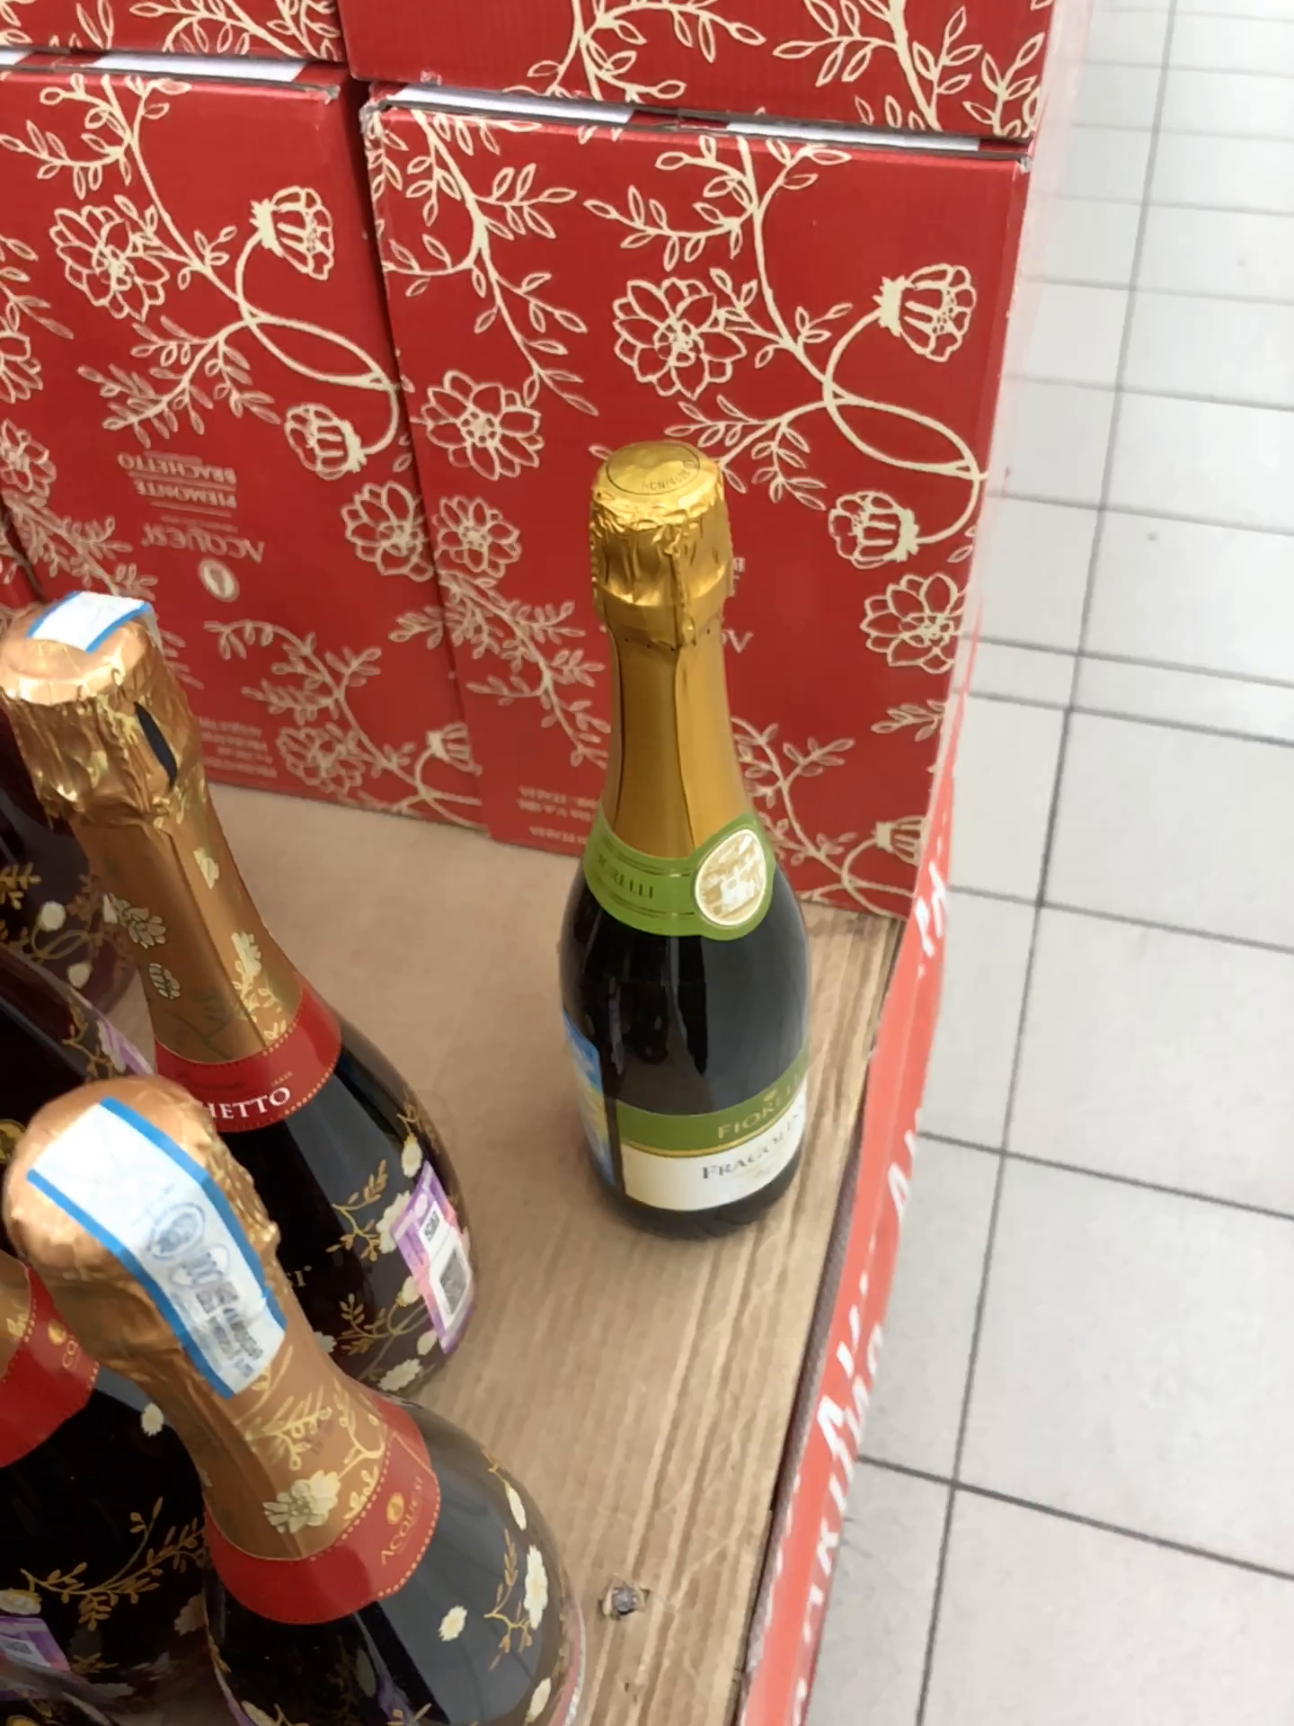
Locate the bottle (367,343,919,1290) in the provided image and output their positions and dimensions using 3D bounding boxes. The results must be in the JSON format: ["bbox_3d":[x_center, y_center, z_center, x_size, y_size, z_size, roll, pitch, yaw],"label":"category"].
[{"bbox_3d":[0.005,0.008,0.439,0.090,0.289,0.090,-2,49,2],"label":"bottle"}]
